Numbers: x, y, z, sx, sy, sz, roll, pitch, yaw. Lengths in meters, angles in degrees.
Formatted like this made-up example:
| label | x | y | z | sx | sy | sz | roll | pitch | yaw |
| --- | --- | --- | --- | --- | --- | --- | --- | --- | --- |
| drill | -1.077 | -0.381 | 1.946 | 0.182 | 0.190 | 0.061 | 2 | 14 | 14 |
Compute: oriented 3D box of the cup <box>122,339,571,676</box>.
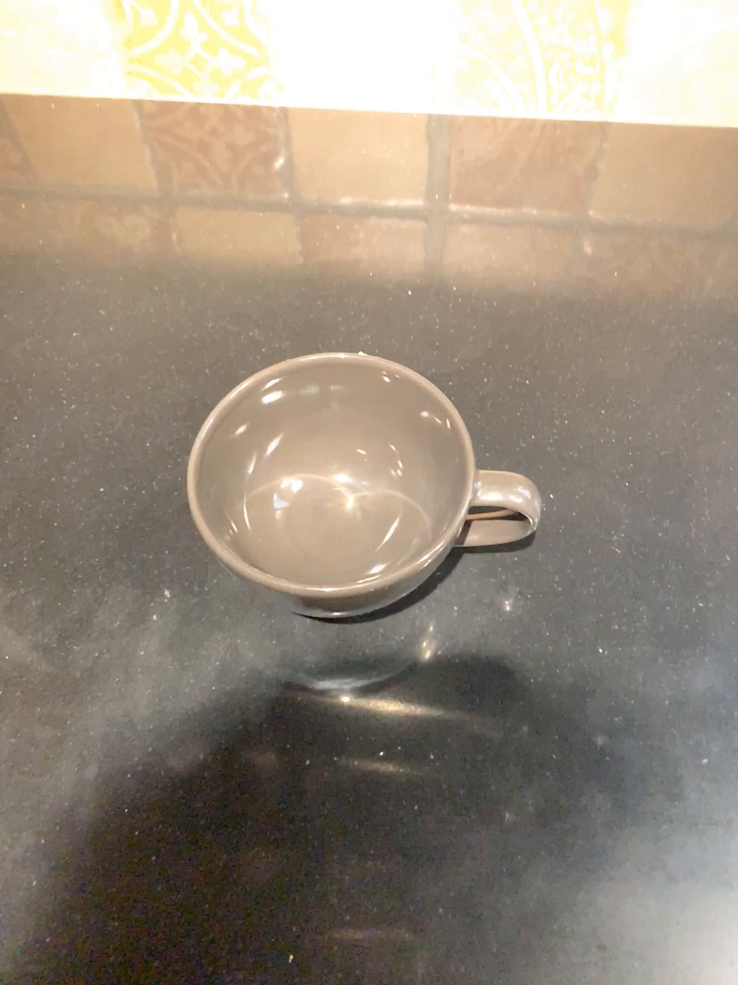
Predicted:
| label | x | y | z | sx | sy | sz | roll | pitch | yaw |
| --- | --- | --- | --- | --- | --- | --- | --- | --- | --- |
| cup | -0.004 | 0.004 | 0.290 | 0.140 | 0.060 | 0.110 | 1 | 59 | 4 |
